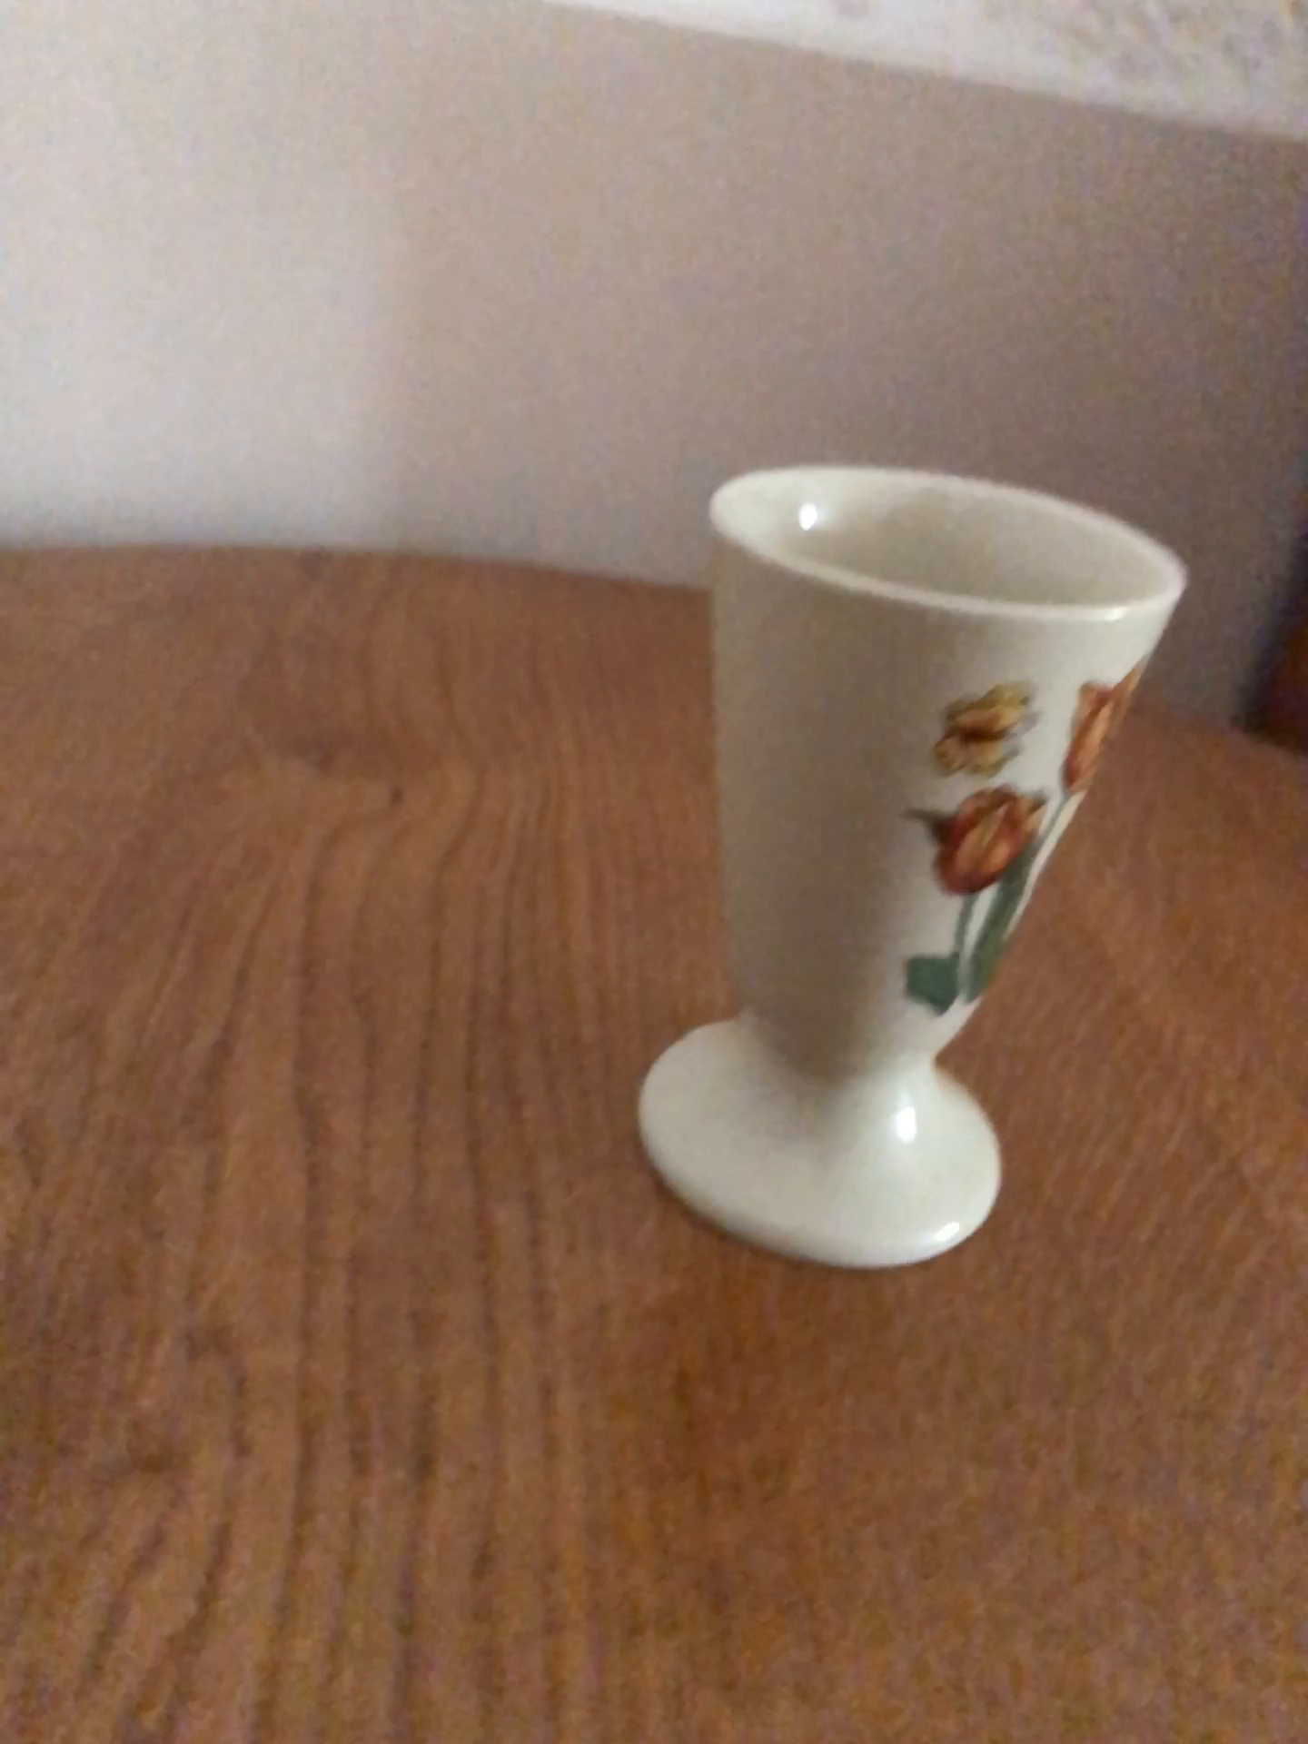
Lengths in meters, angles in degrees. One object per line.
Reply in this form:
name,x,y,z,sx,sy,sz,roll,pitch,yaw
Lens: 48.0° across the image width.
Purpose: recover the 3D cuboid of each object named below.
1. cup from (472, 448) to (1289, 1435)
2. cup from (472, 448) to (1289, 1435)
cup,0.032,0.004,0.240,0.080,0.119,0.081,7,27,-4
cup,0.032,0.004,0.240,0.080,0.119,0.081,7,27,-4
